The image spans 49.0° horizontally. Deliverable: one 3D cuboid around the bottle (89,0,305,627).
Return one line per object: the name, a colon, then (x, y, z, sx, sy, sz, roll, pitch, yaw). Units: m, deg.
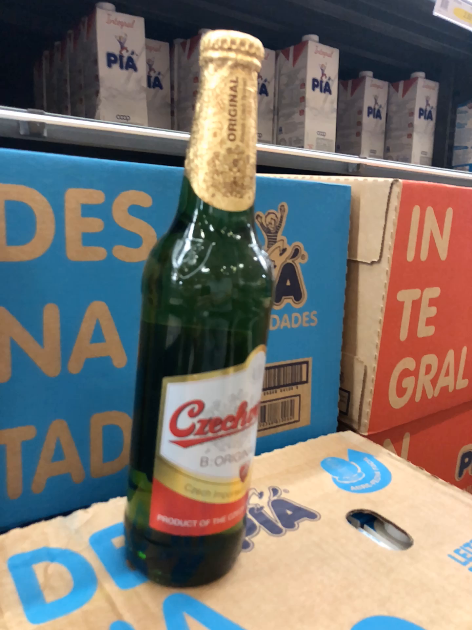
bottle: (-0.023, -0.002, 0.258, 0.070, 0.269, 0.070, 2, 9, 0)
